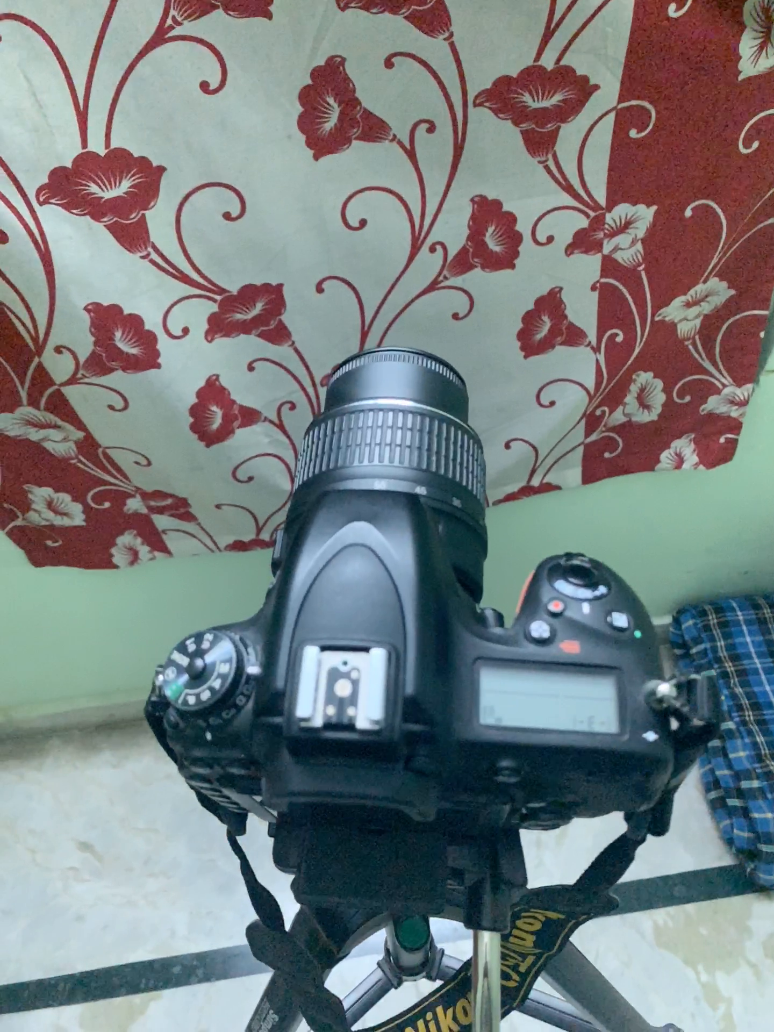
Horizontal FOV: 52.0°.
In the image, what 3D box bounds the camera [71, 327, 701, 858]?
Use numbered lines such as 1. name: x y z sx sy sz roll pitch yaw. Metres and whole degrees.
1. camera: 0.004 0.026 0.258 0.139 0.112 0.129 1 53 4
